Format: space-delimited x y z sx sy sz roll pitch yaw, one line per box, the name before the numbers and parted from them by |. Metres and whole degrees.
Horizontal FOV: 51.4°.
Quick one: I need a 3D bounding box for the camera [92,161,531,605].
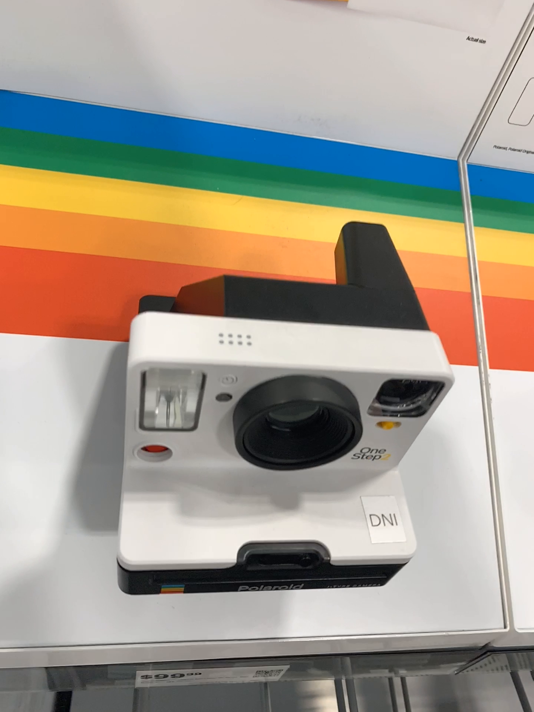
camera | 0.001 0.008 0.225 0.120 0.090 0.145 3 49 -12
